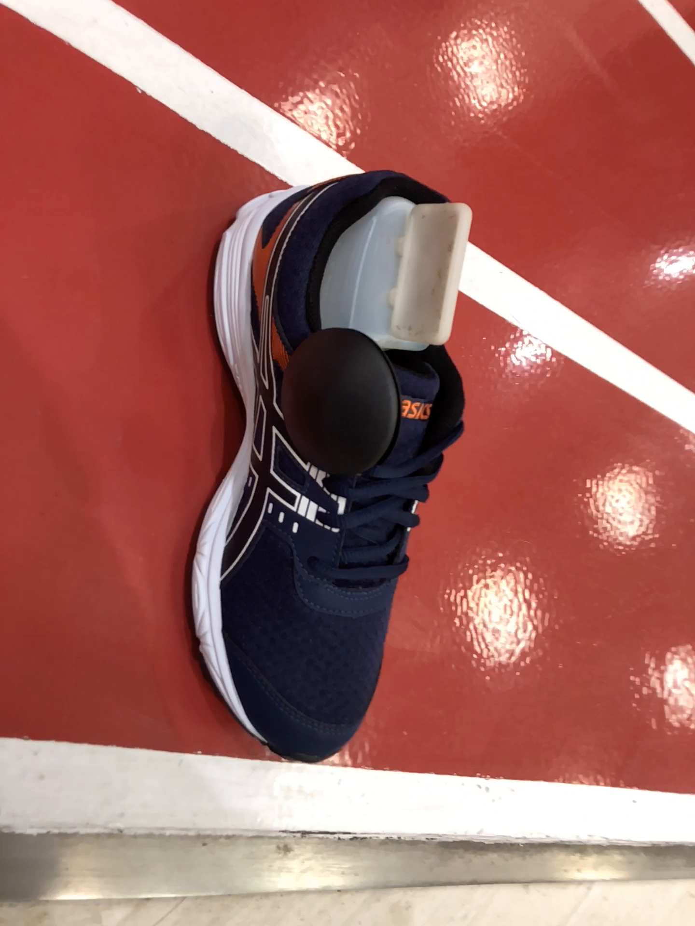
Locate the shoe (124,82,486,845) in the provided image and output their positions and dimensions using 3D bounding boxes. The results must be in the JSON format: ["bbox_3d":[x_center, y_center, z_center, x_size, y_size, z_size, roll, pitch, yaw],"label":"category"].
[{"bbox_3d":[-0.018,0.001,0.309,0.101,0.099,0.240,5,81,-37],"label":"shoe"}]
